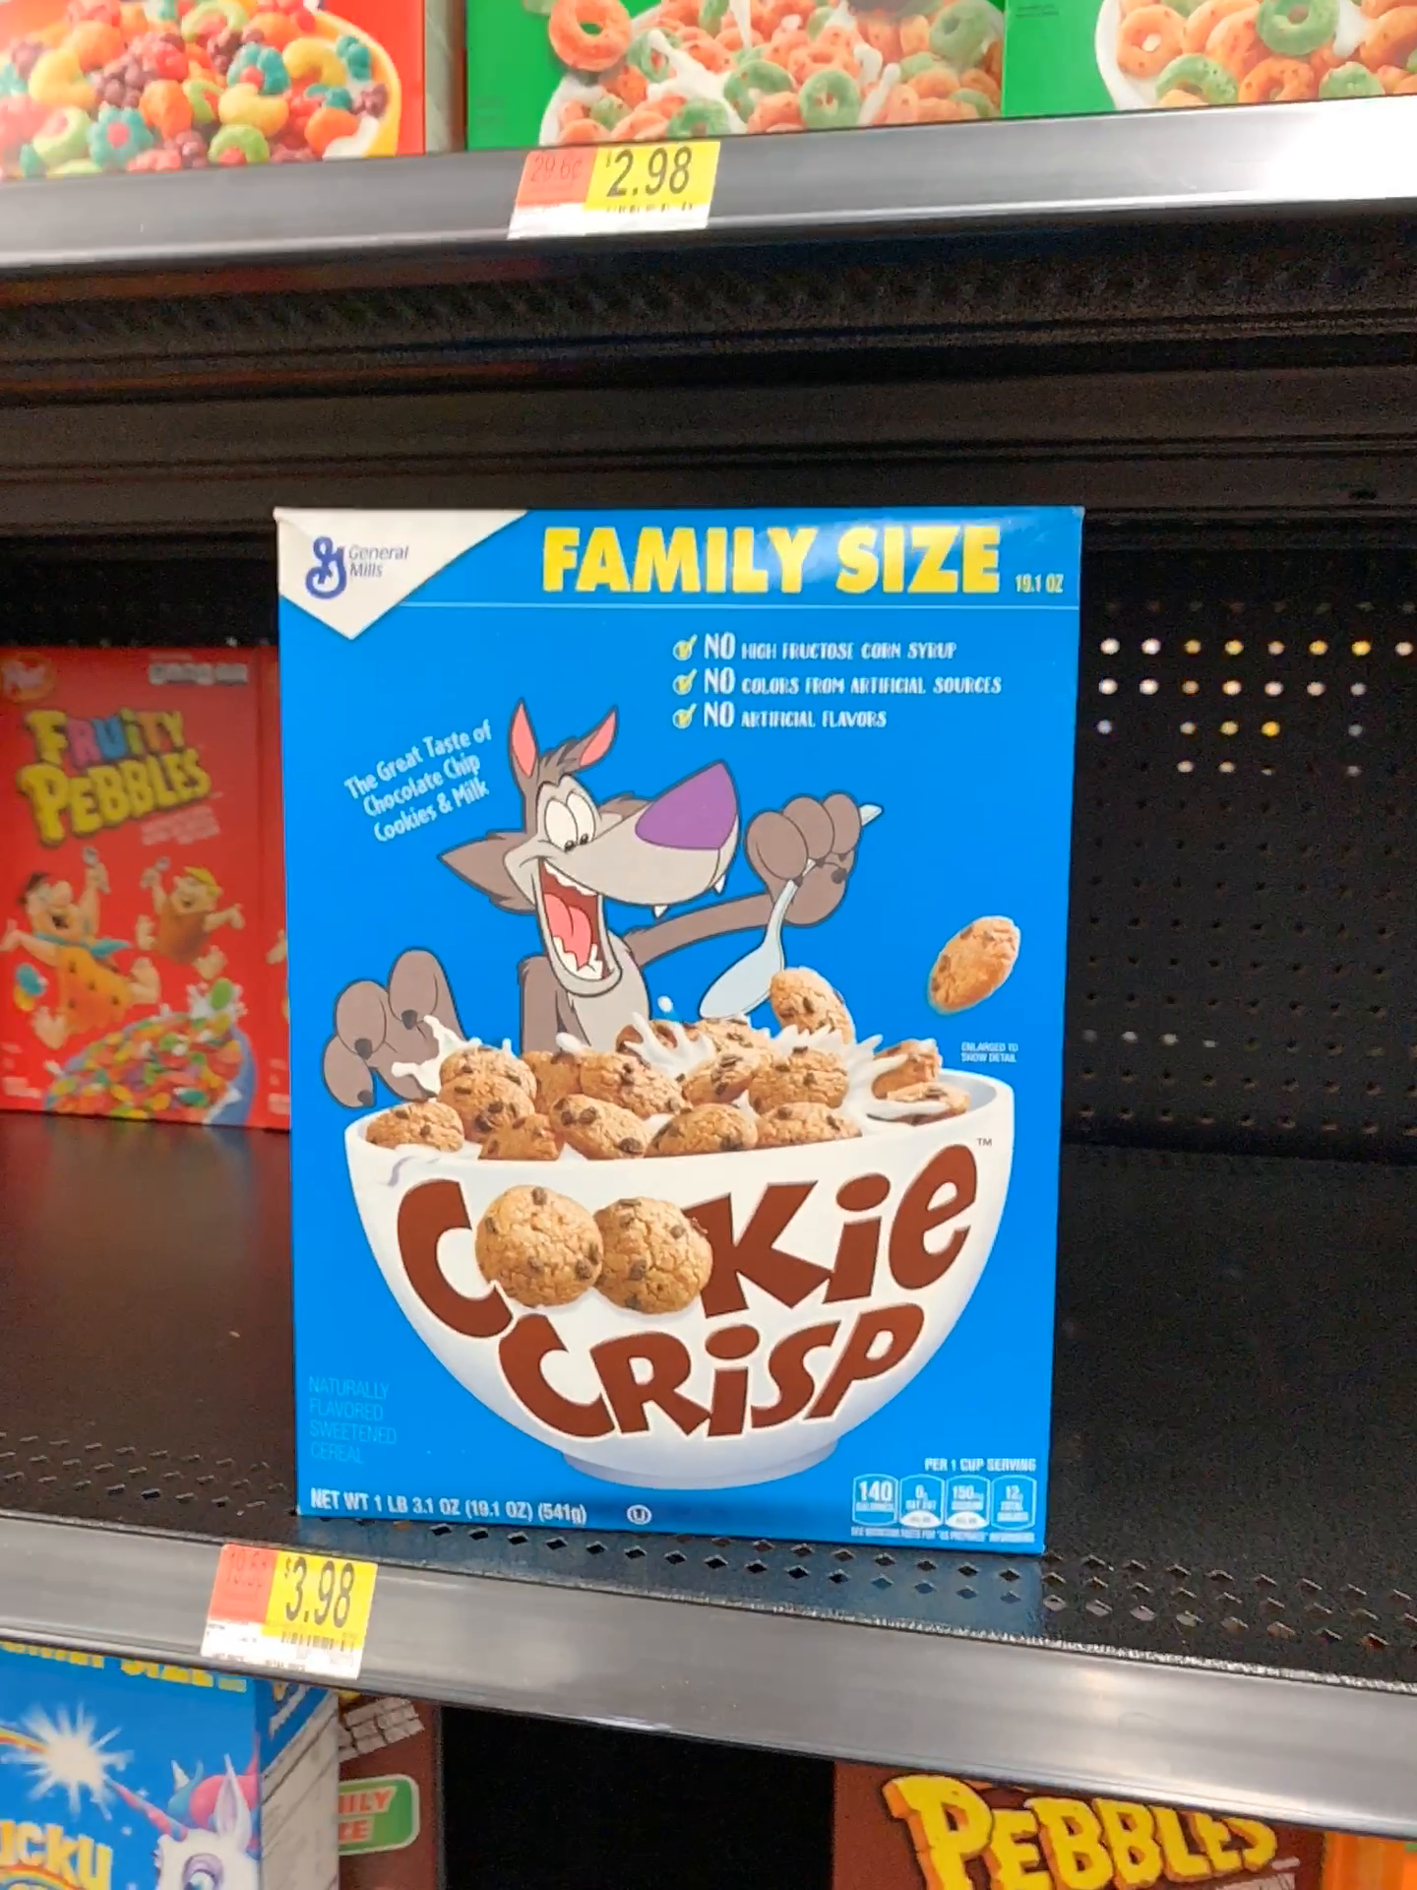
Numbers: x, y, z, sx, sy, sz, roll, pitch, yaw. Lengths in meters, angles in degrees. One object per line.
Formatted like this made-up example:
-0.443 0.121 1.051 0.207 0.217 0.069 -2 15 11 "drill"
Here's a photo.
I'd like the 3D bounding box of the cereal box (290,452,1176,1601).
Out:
0.005 0.025 0.468 0.250 0.339 0.070 1 7 3 "cereal box"
